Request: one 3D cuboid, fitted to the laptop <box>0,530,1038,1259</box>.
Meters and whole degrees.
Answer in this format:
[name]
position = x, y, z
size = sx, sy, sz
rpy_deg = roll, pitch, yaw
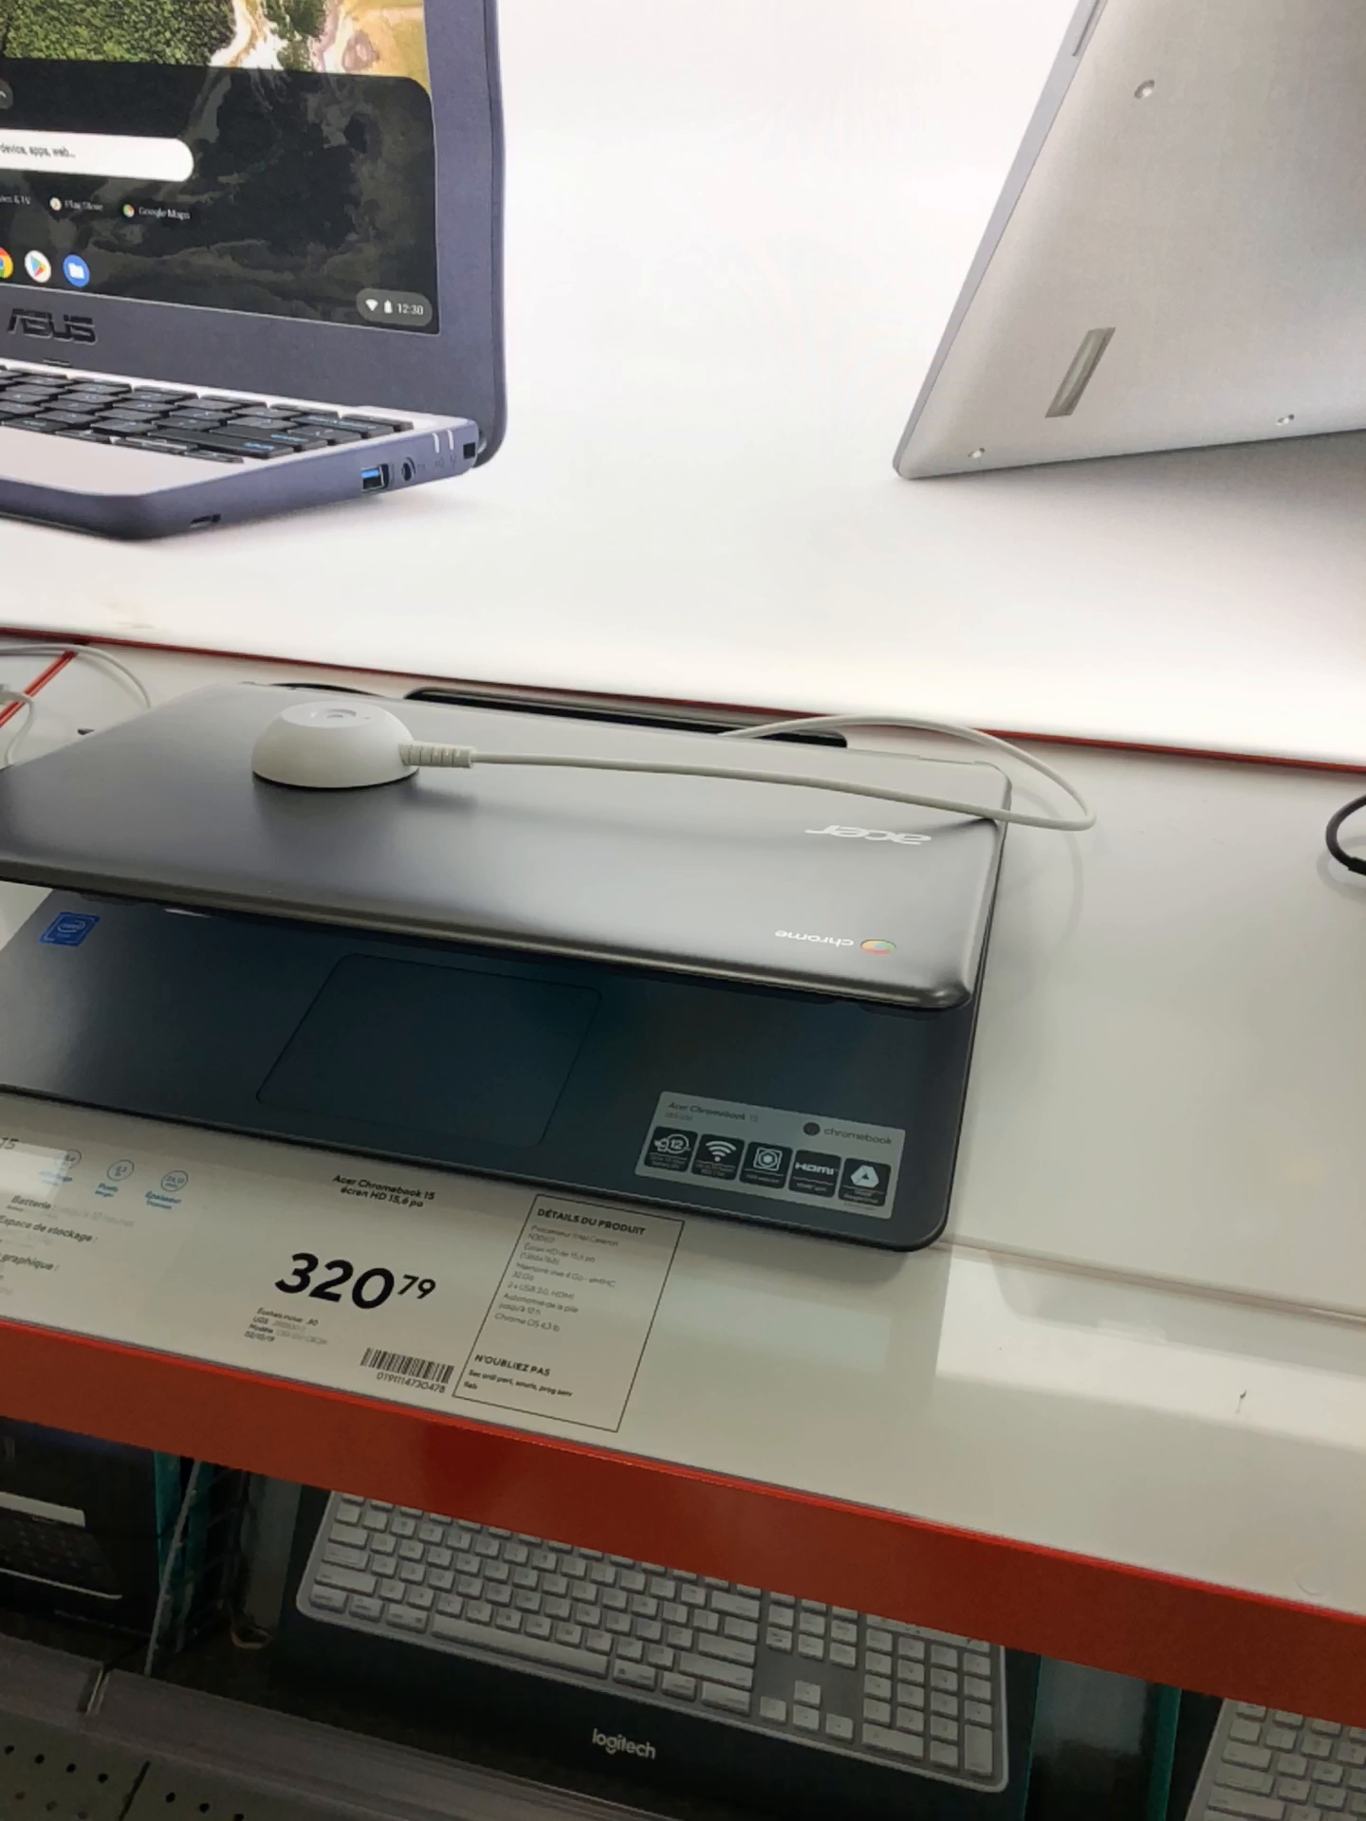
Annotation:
[laptop]
position = -0.068, -0.032, 0.563
size = 0.369, 0.088, 0.249
rpy_deg = 8, 41, 14
